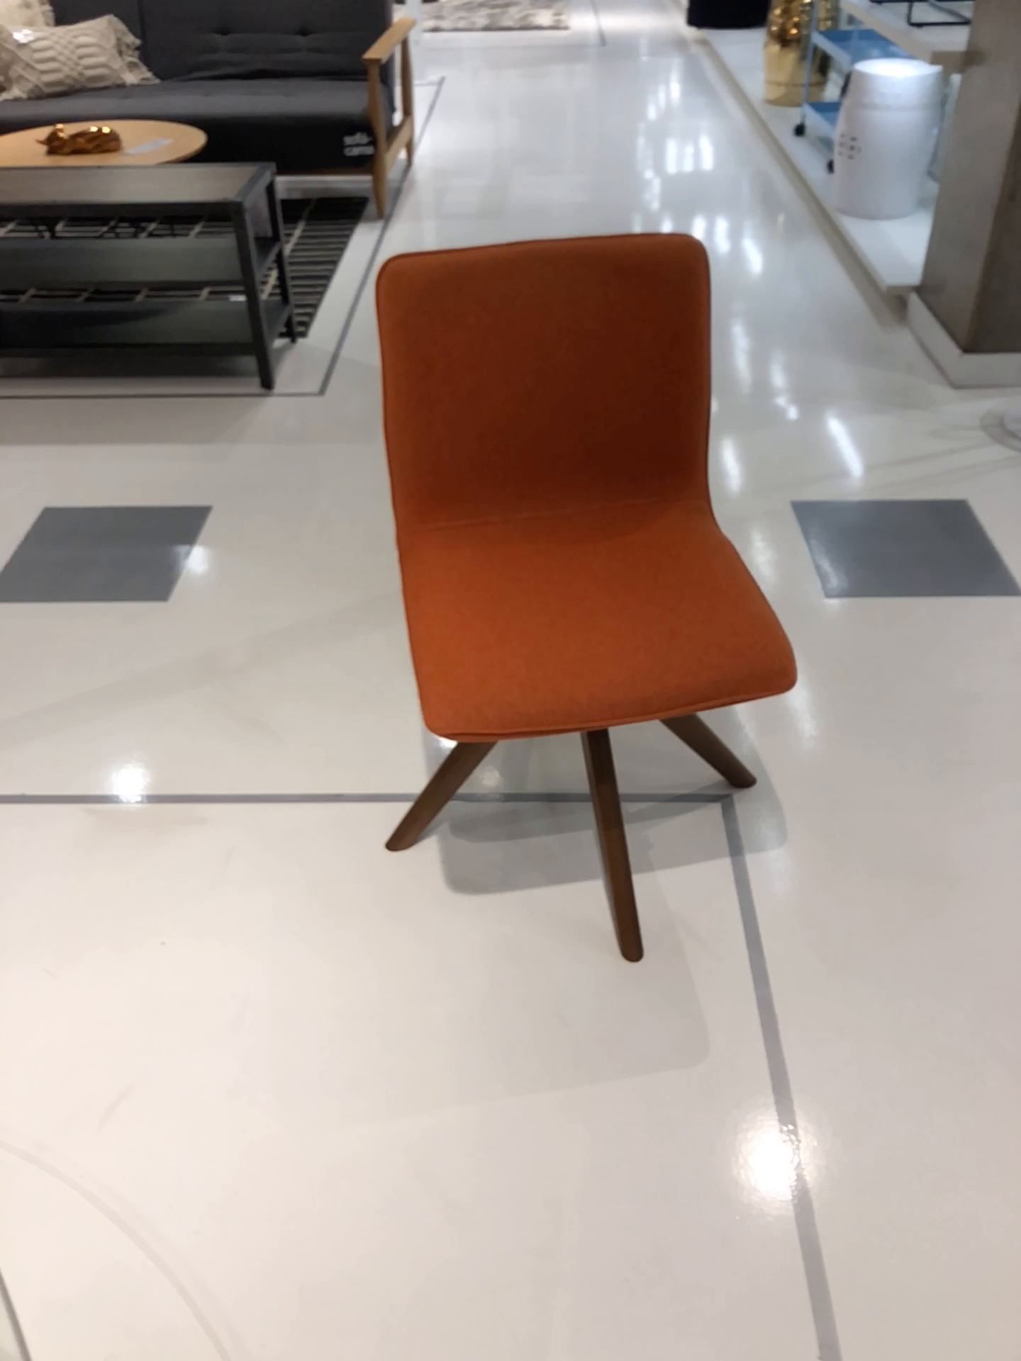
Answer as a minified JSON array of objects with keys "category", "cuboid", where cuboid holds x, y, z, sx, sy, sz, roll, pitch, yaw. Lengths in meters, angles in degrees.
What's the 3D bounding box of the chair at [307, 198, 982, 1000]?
[{"category":"chair","cuboid":[0.103,-0.124,1.509,0.610,0.794,0.615,-8,37,-7]}]
